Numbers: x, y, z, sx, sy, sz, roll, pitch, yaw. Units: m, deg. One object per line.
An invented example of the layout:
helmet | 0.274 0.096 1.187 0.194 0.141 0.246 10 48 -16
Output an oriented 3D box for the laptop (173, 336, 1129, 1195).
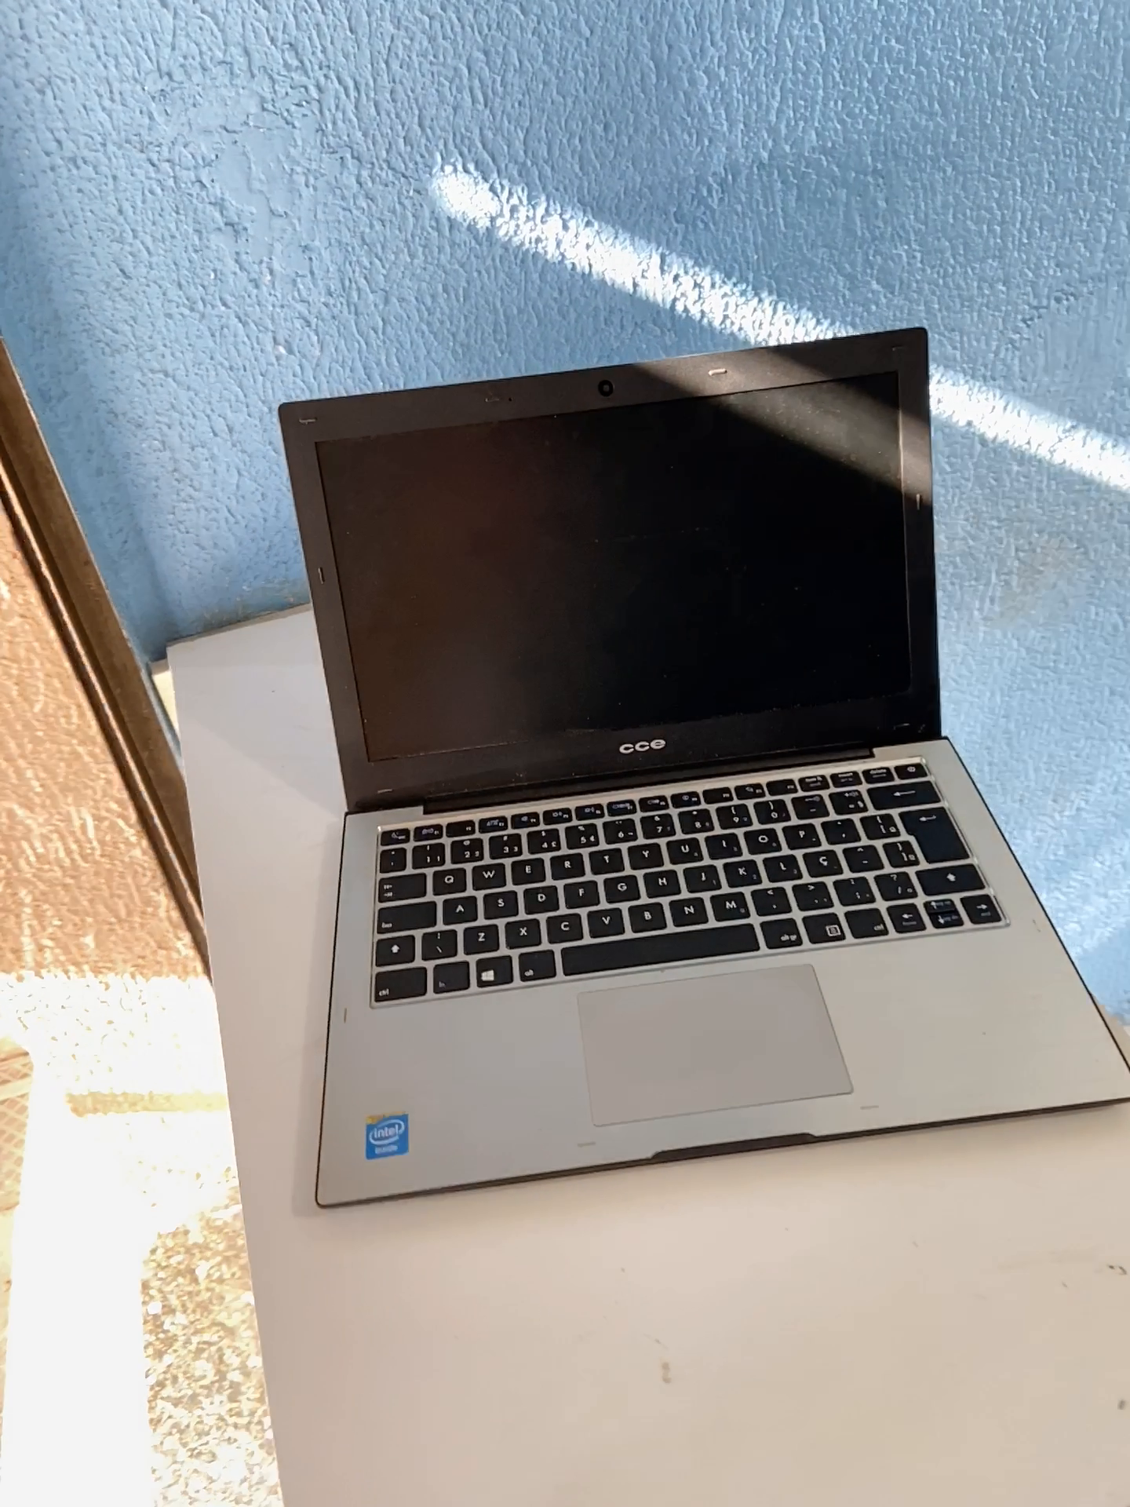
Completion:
laptop | 0.039 -0.018 0.500 0.313 0.181 0.305 -7 40 -2
